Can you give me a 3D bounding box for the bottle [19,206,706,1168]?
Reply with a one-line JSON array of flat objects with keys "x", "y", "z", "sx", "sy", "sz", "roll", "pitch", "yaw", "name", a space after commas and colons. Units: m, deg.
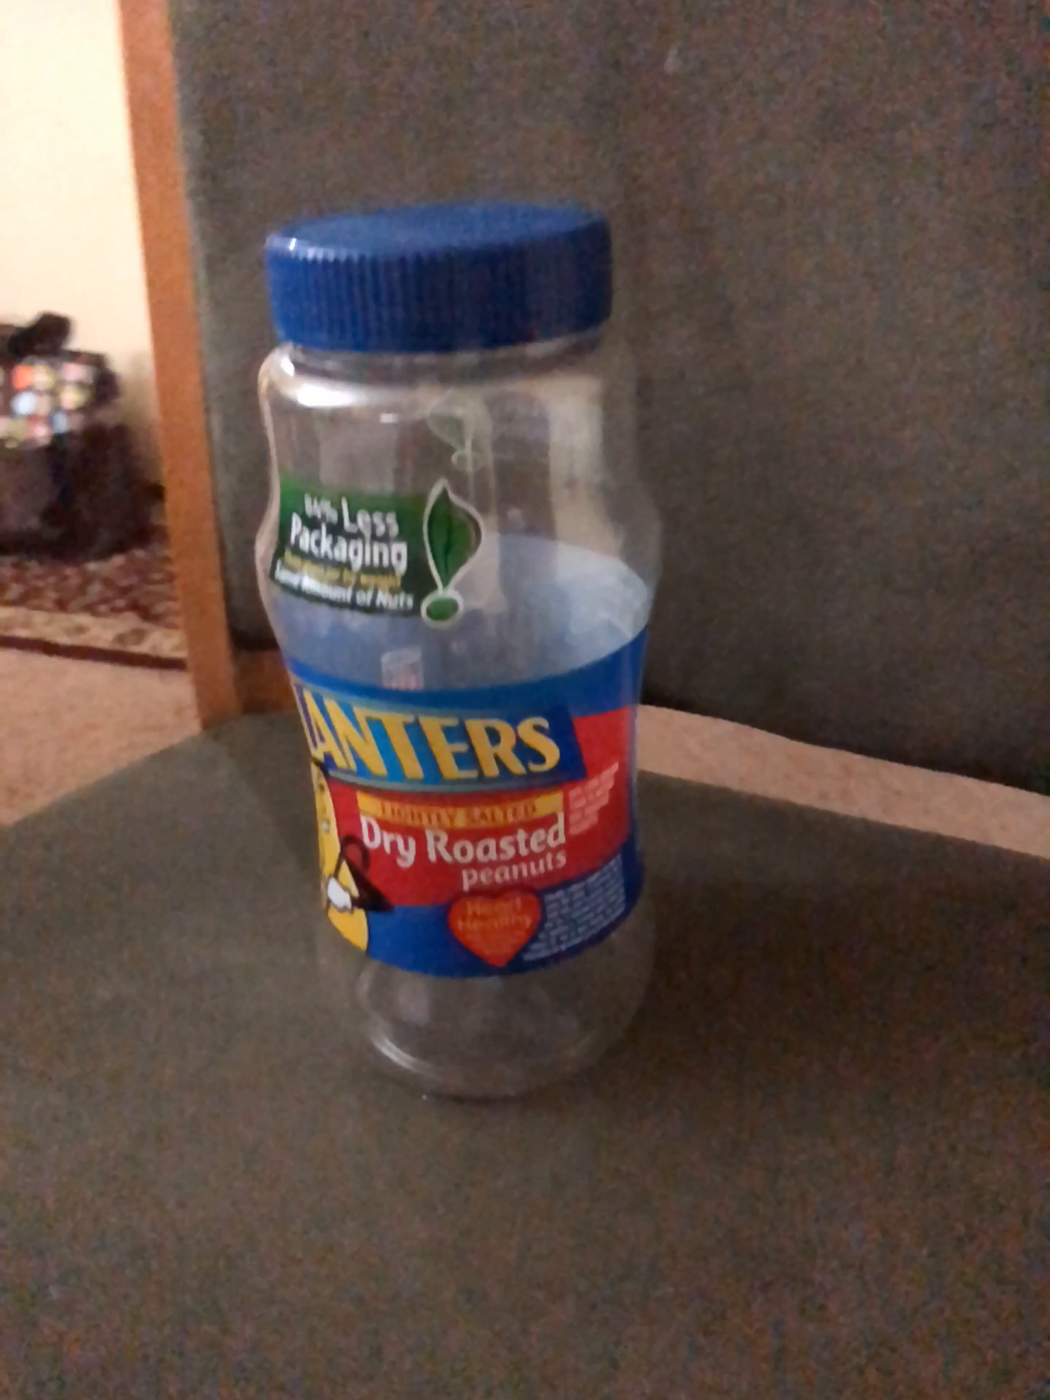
[{"x": -0.022, "y": -0.007, "z": 0.246, "sx": 0.090, "sy": 0.169, "sz": 0.080, "roll": 14, "pitch": 33, "yaw": 27, "name": "bottle"}]
